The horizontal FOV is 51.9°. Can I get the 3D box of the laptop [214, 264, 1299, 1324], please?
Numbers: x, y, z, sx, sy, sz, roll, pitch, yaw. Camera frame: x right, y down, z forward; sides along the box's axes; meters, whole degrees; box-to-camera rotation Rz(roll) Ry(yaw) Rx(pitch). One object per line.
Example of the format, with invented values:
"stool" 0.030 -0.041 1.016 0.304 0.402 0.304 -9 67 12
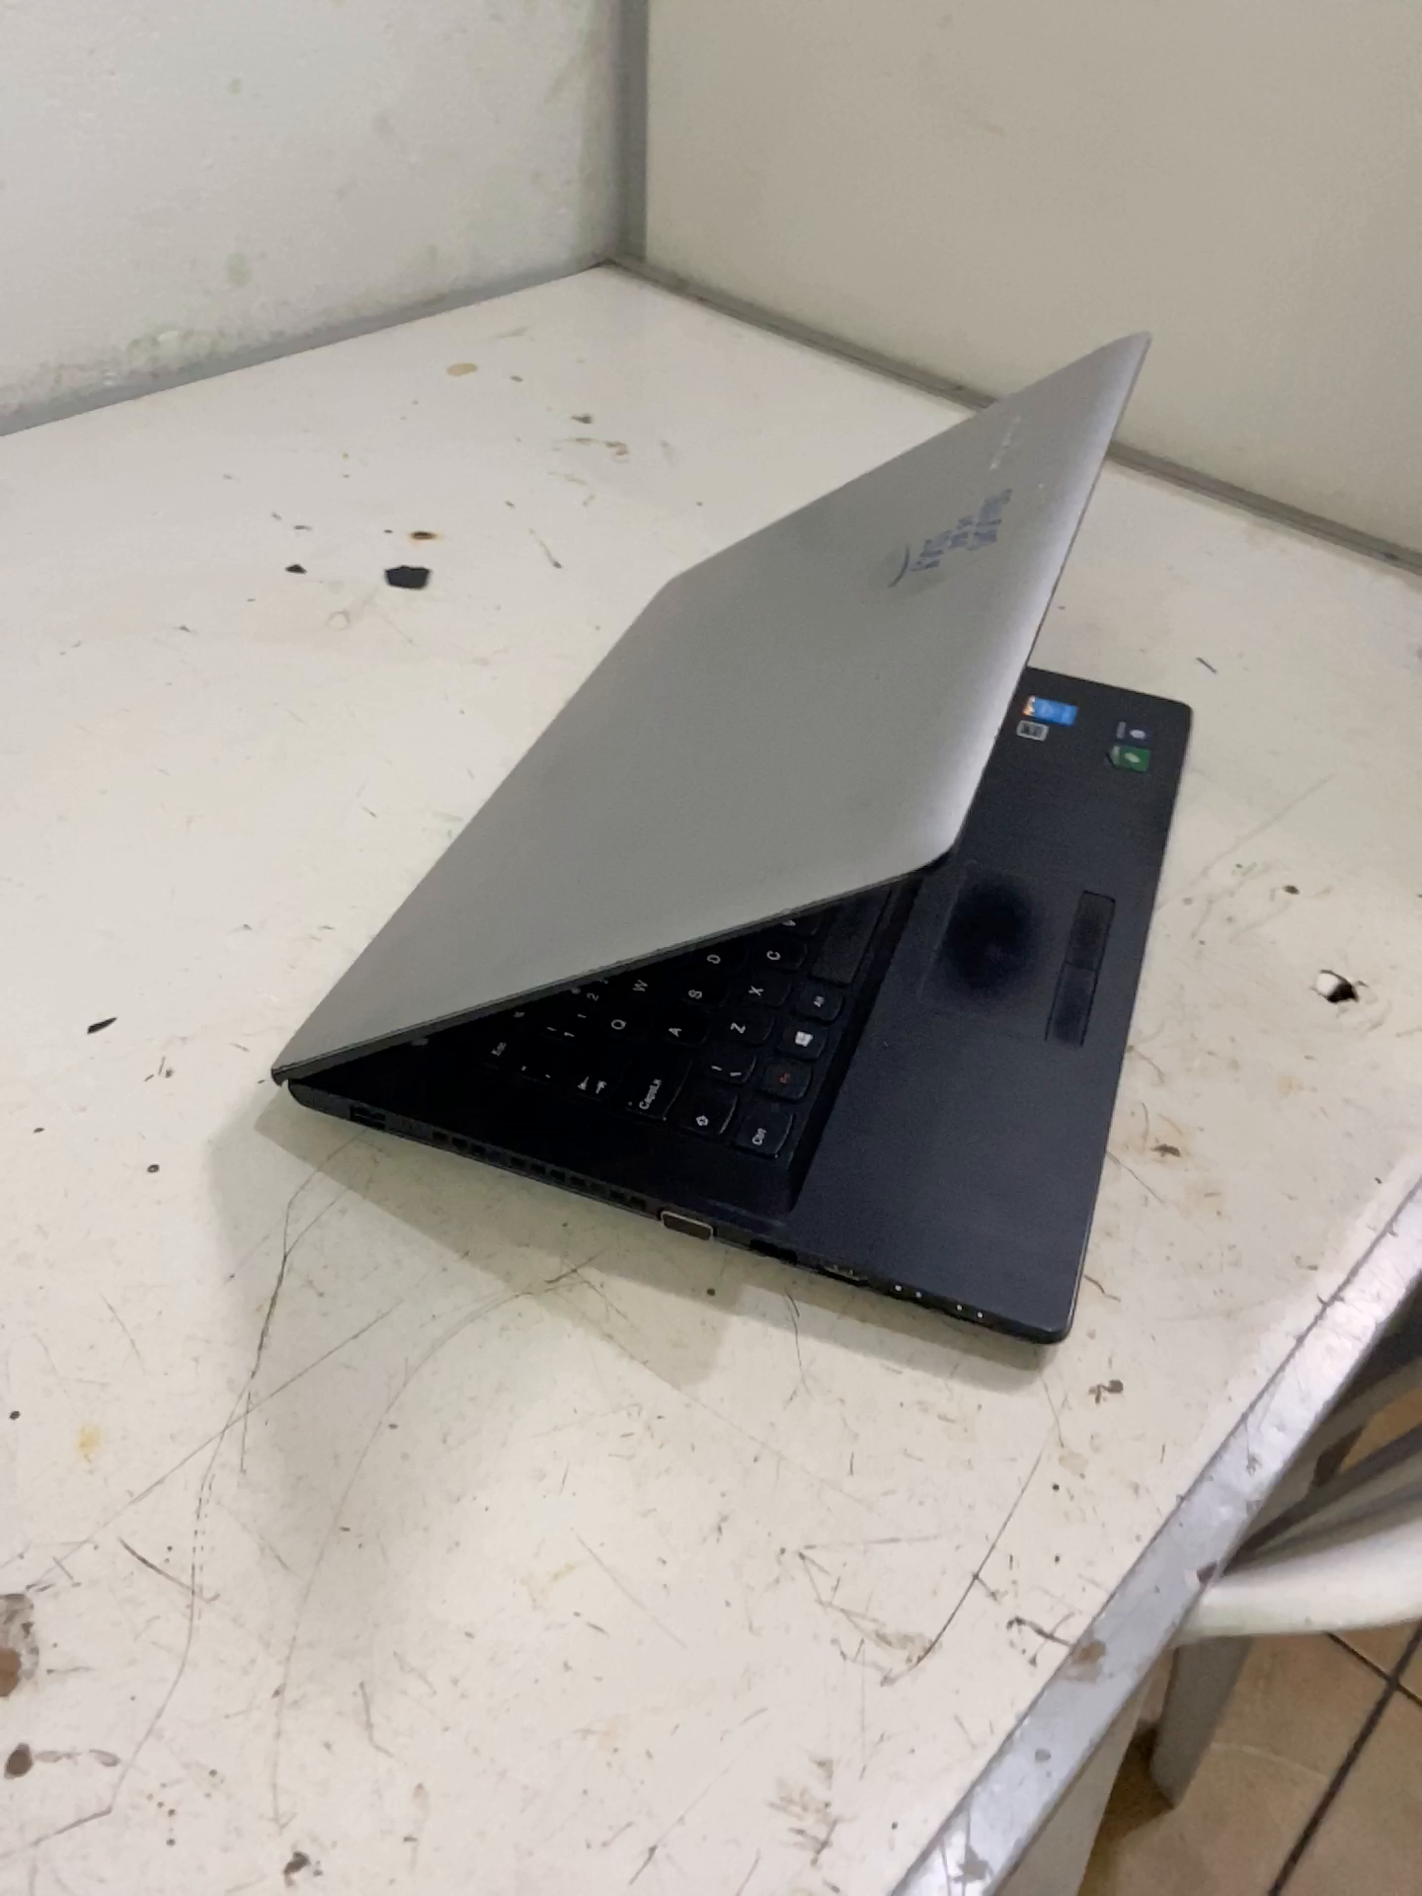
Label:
"laptop" 0.047 -0.090 0.508 0.245 0.148 0.346 15 43 13
